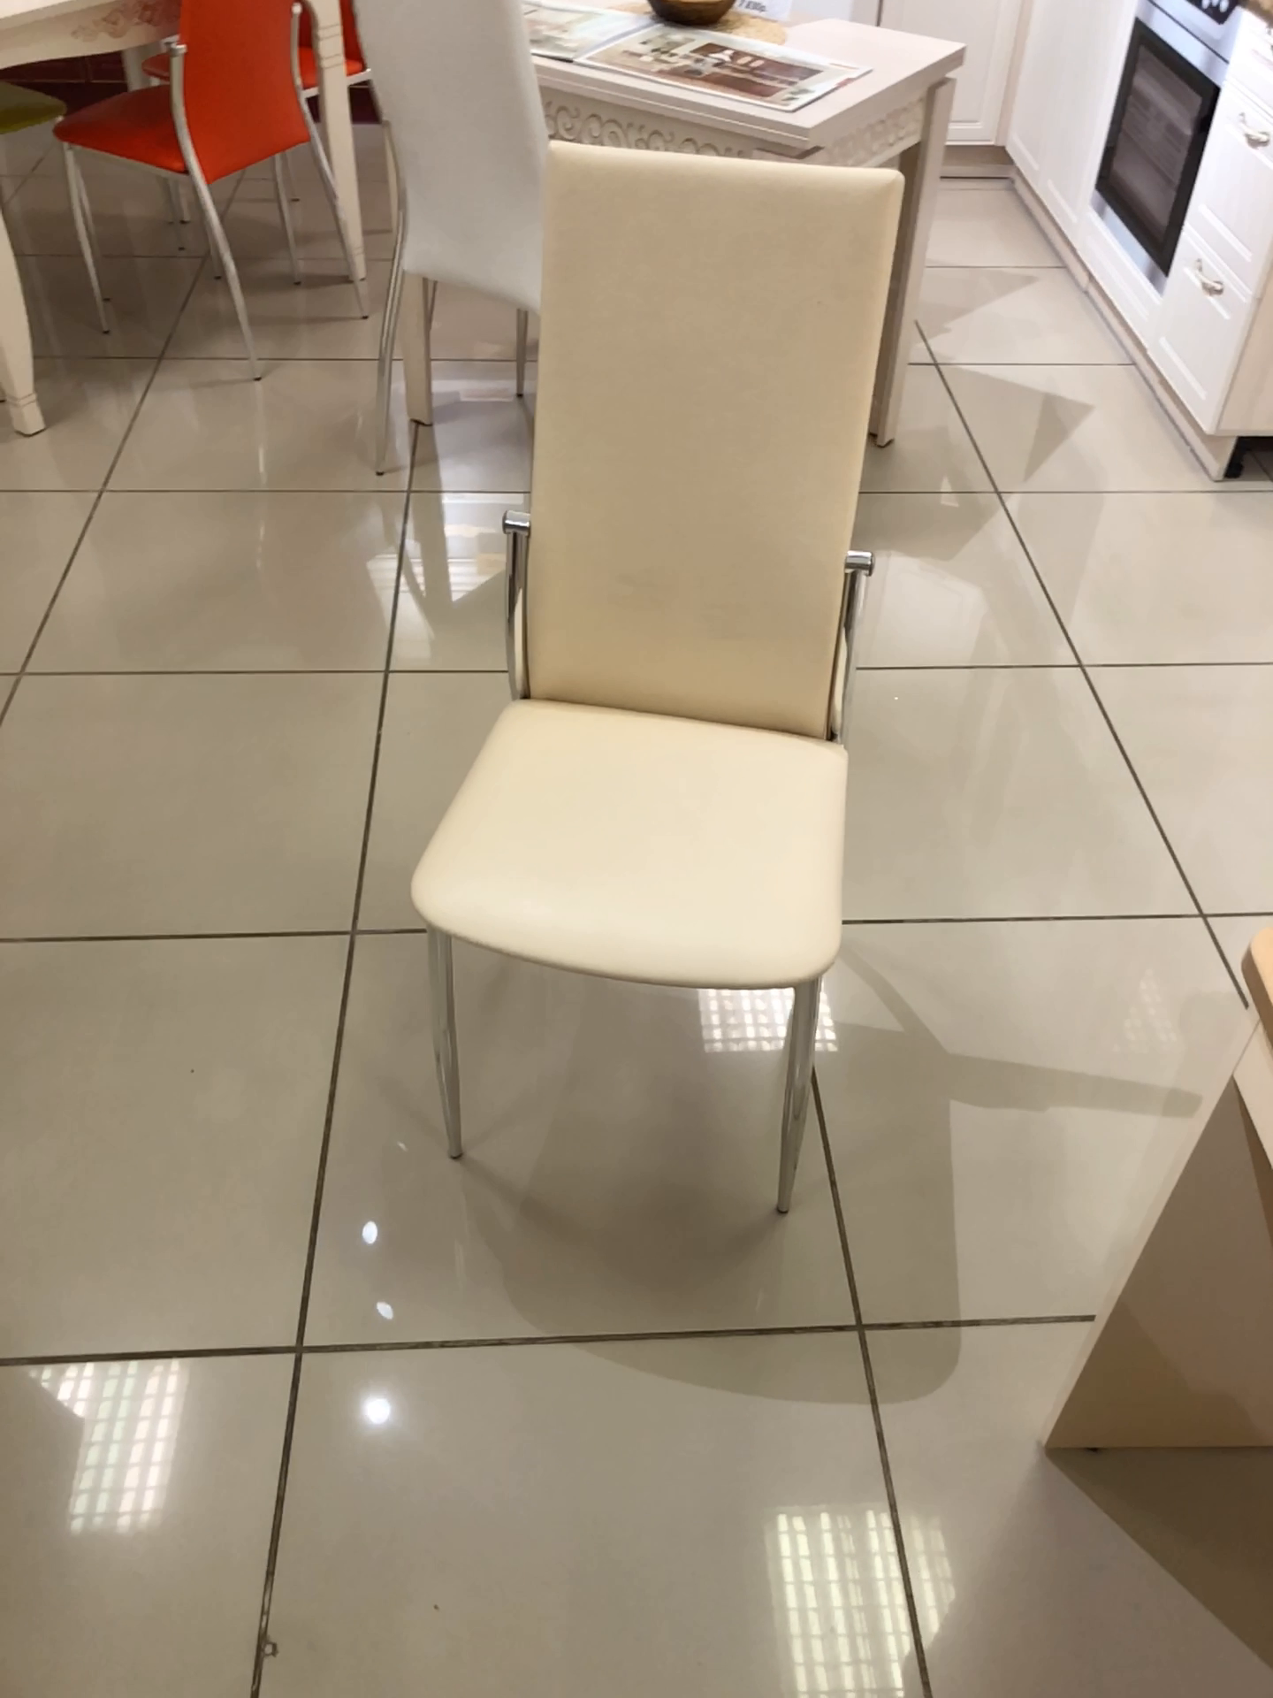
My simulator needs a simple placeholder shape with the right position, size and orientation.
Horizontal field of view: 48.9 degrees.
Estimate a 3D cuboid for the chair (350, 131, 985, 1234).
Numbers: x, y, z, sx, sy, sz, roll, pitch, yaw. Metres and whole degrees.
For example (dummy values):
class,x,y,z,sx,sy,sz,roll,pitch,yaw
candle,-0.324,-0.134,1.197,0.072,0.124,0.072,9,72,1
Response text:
class,x,y,z,sx,sy,sz,roll,pitch,yaw
chair,0.044,-0.125,1.455,0.430,0.975,0.503,9,43,7
